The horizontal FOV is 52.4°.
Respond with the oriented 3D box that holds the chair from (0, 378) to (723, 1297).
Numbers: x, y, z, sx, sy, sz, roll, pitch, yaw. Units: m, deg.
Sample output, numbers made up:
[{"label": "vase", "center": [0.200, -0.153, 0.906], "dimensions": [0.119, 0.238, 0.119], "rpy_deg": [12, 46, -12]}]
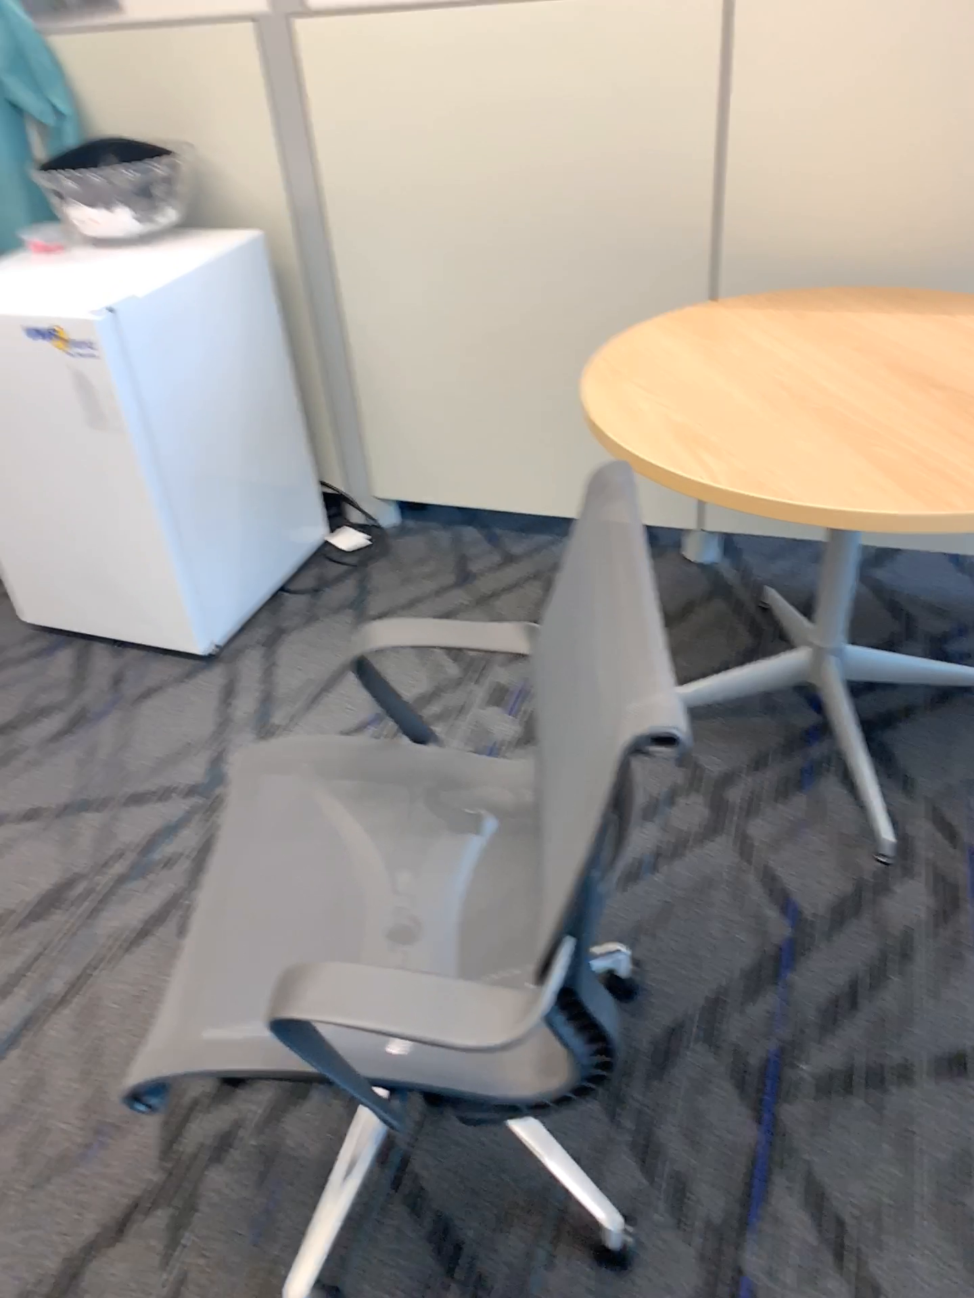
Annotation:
[{"label": "chair", "center": [-0.165, 0.213, 1.119], "dimensions": [0.700, 0.753, 0.686], "rpy_deg": [-4, 36, 4]}]
